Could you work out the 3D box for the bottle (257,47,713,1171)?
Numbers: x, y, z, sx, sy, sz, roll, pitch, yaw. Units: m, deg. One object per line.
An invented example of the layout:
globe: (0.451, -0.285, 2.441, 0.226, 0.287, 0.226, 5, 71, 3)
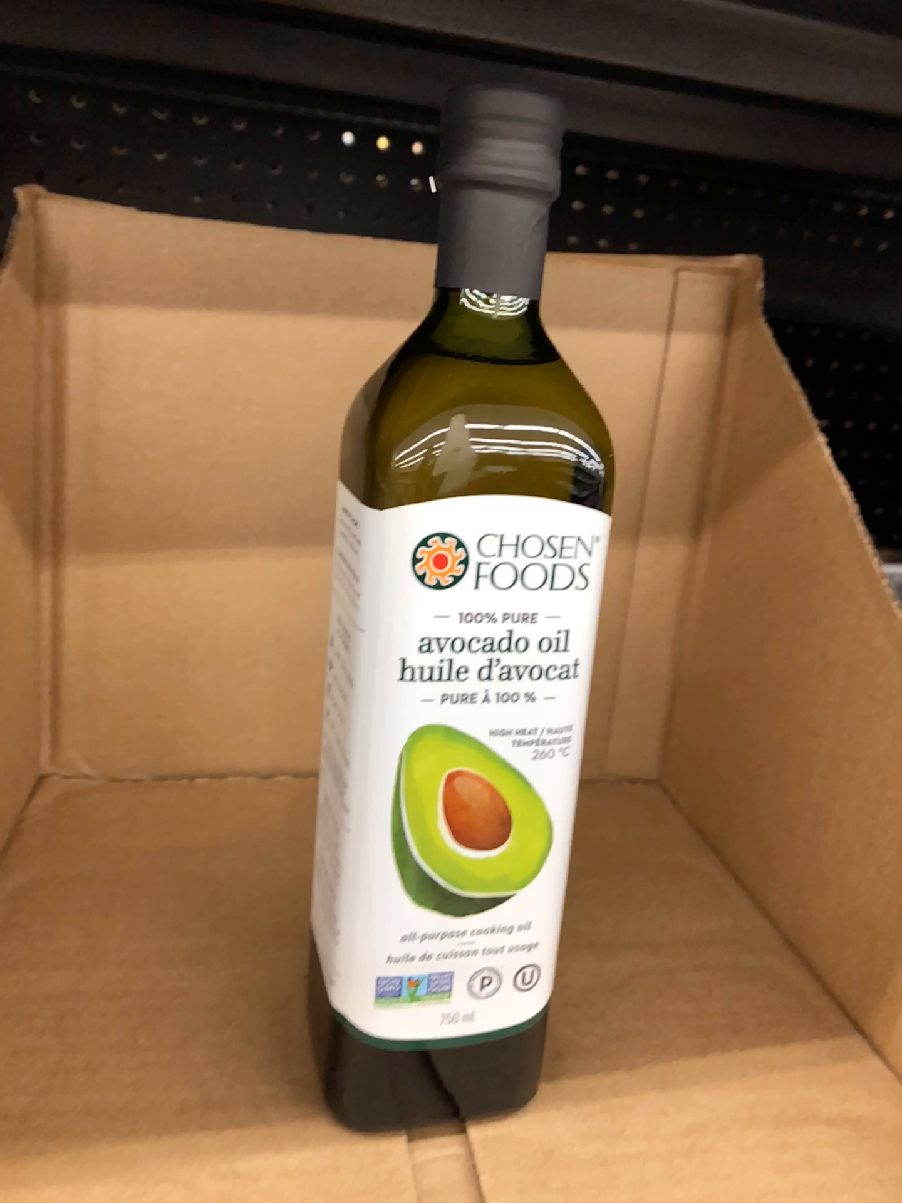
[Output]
bottle: (-0.004, 0.016, 0.306, 0.090, 0.308, 0.070, 1, 18, -16)
